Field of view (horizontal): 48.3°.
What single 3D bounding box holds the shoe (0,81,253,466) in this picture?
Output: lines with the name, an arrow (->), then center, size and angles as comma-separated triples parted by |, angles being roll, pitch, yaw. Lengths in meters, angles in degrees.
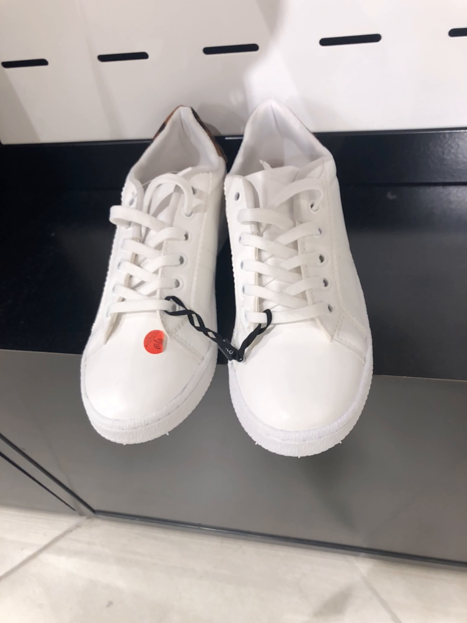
shoe -> -0.048, -0.030, 0.329 | 0.090, 0.099, 0.221 | 0, 57, 12

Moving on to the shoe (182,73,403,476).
shoe -> 0.033, -0.027, 0.314 | 0.090, 0.099, 0.221 | -4, 56, 9
